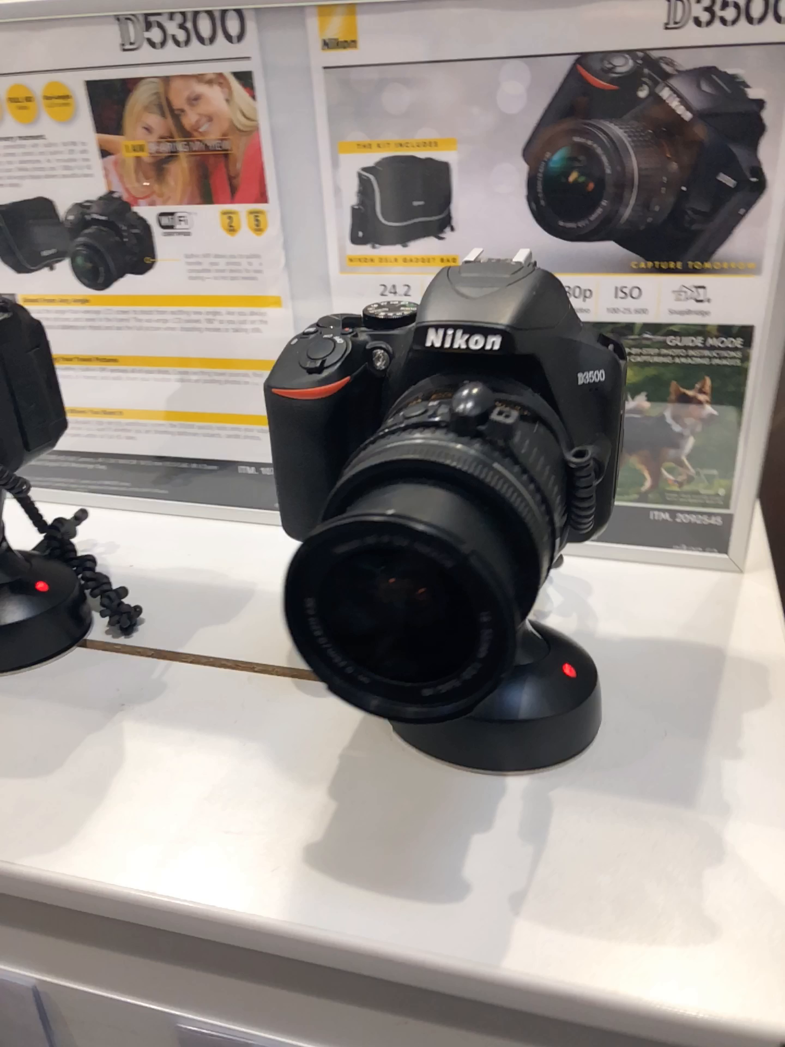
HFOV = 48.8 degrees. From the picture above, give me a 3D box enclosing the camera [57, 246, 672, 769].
[{"bbox_3d":[0.008,-0.021,0.256,0.130,0.089,0.141,5,29,14],"label":"camera"}]
